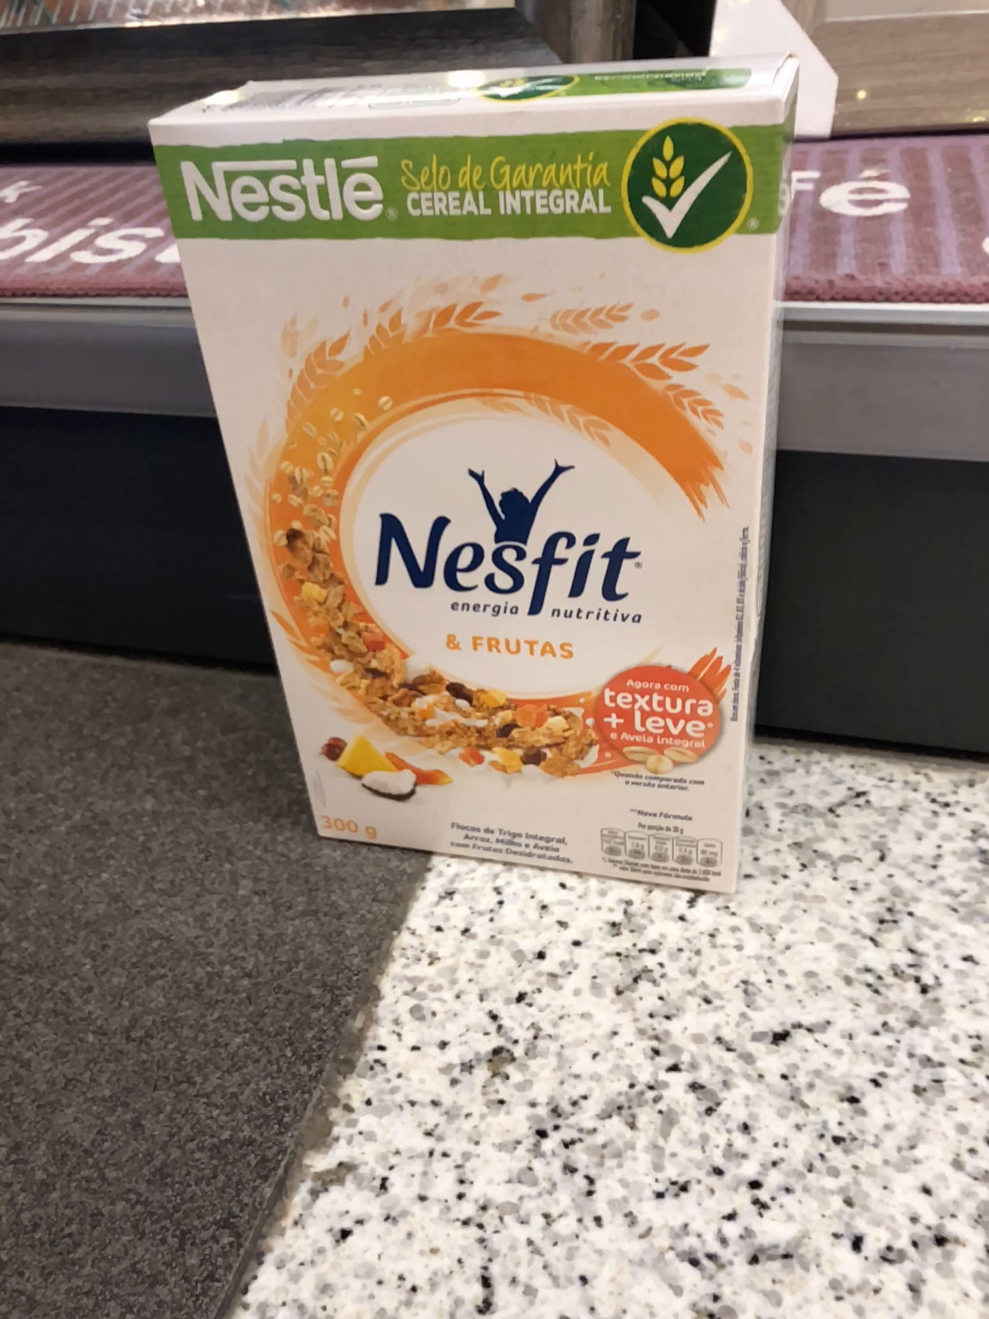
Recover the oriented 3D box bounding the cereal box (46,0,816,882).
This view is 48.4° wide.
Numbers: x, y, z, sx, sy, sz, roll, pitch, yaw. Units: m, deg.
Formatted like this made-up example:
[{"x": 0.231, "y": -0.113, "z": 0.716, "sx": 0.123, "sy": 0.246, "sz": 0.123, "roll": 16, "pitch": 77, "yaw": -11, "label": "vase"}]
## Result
[{"x": -0.003, "y": -0.051, "z": 0.329, "sx": 0.170, "sy": 0.248, "sz": 0.060, "roll": 4, "pitch": 38, "yaw": 14, "label": "cereal box"}]
